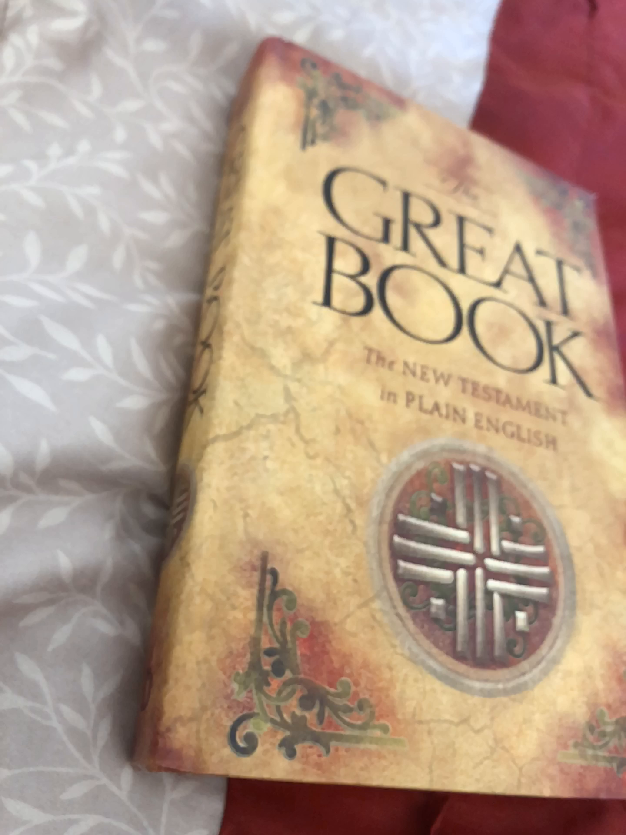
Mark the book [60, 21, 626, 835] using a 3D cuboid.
[{"bbox_3d":[0.032,0.002,0.223,0.161,0.040,0.221,15,63,-21],"label":"book"}]
